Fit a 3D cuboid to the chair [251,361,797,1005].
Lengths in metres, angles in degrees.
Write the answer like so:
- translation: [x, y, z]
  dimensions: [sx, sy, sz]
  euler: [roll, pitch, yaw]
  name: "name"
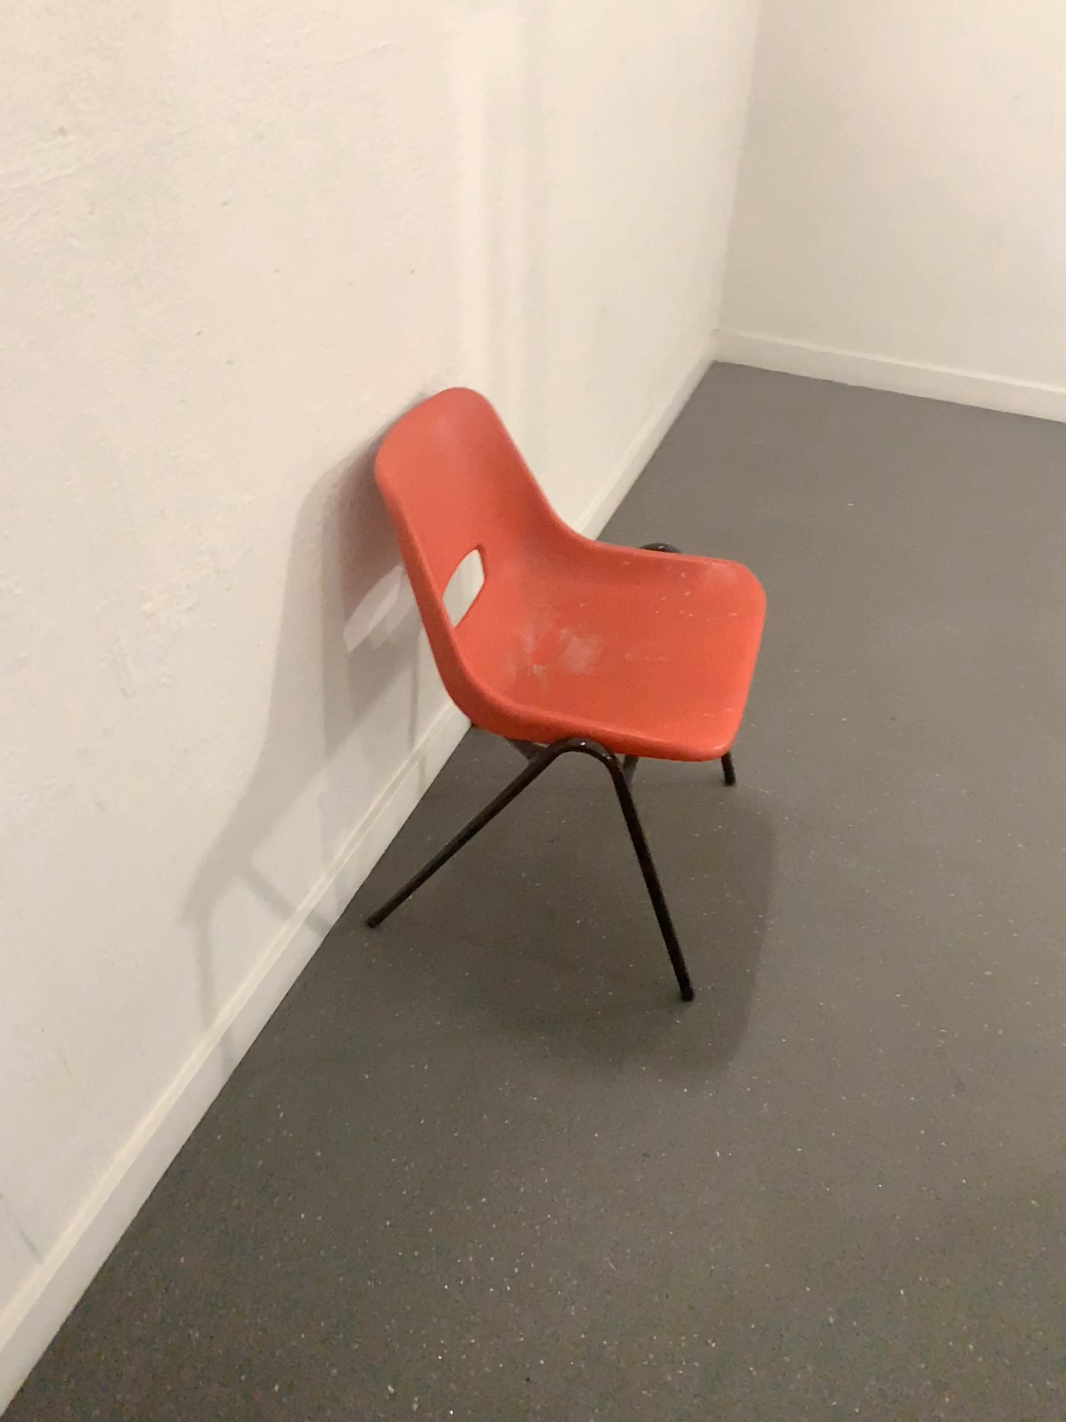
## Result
- translation: [0.016, -0.049, 1.634]
  dimensions: [0.591, 0.713, 0.515]
  euler: [11, 41, 12]
  name: "chair"
